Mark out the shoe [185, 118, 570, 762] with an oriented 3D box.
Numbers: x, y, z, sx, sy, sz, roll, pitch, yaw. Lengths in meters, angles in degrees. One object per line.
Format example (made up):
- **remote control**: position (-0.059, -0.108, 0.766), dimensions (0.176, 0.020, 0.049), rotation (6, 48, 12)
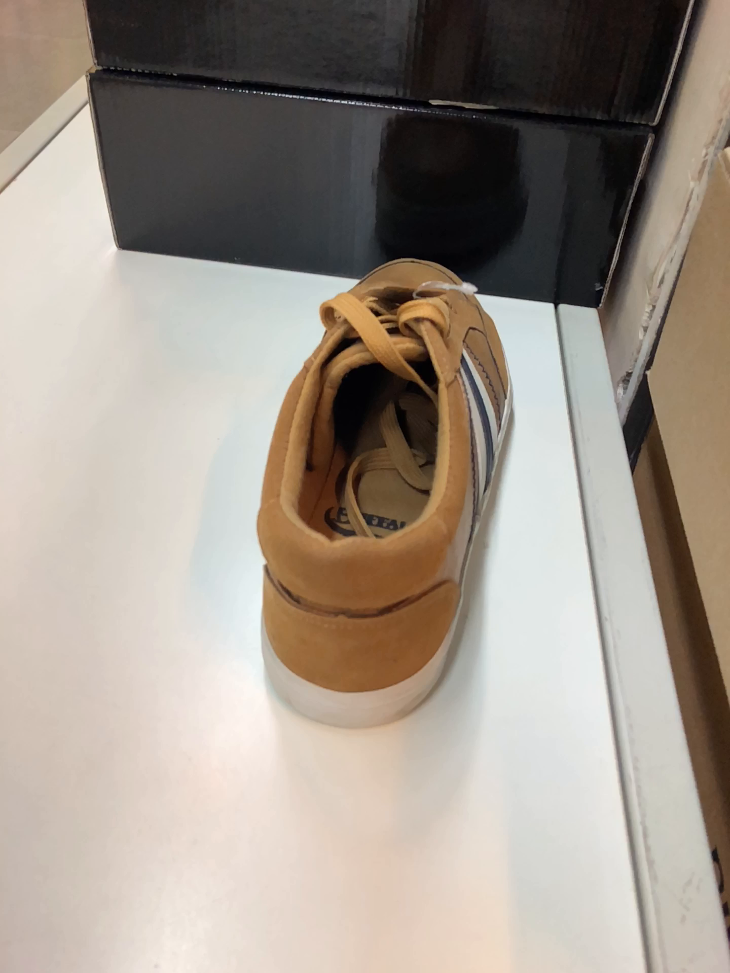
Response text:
- **shoe**: position (0.021, -0.049, 0.357), dimensions (0.105, 0.104, 0.296), rotation (8, 45, 4)
